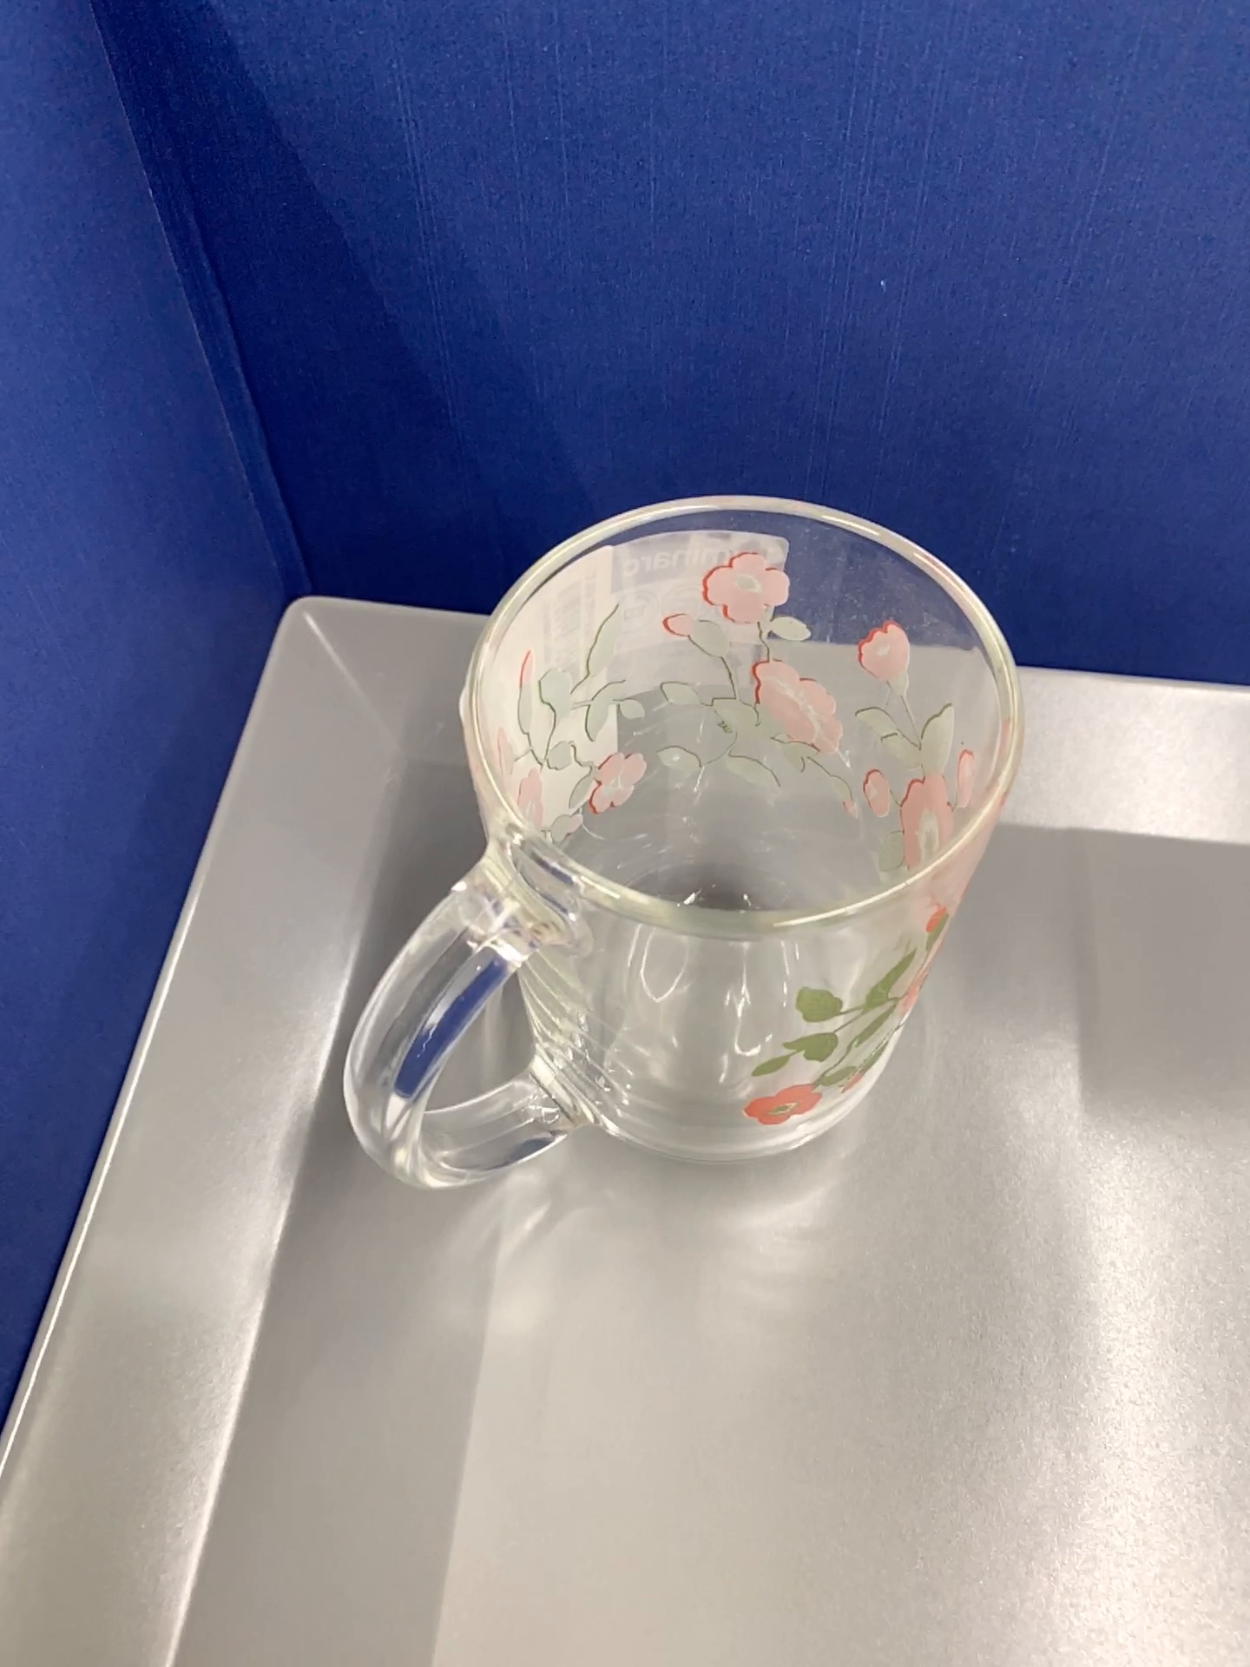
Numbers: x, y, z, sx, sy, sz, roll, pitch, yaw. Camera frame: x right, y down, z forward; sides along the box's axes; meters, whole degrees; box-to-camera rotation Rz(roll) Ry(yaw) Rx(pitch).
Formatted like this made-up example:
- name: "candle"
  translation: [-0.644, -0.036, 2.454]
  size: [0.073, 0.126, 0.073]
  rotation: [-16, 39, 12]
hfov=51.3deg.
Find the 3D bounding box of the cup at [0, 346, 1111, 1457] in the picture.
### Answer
- name: "cup"
  translation: [-0.006, 0.011, 0.208]
  size: [0.088, 0.104, 0.115]
  rotation: [37, 64, 24]
